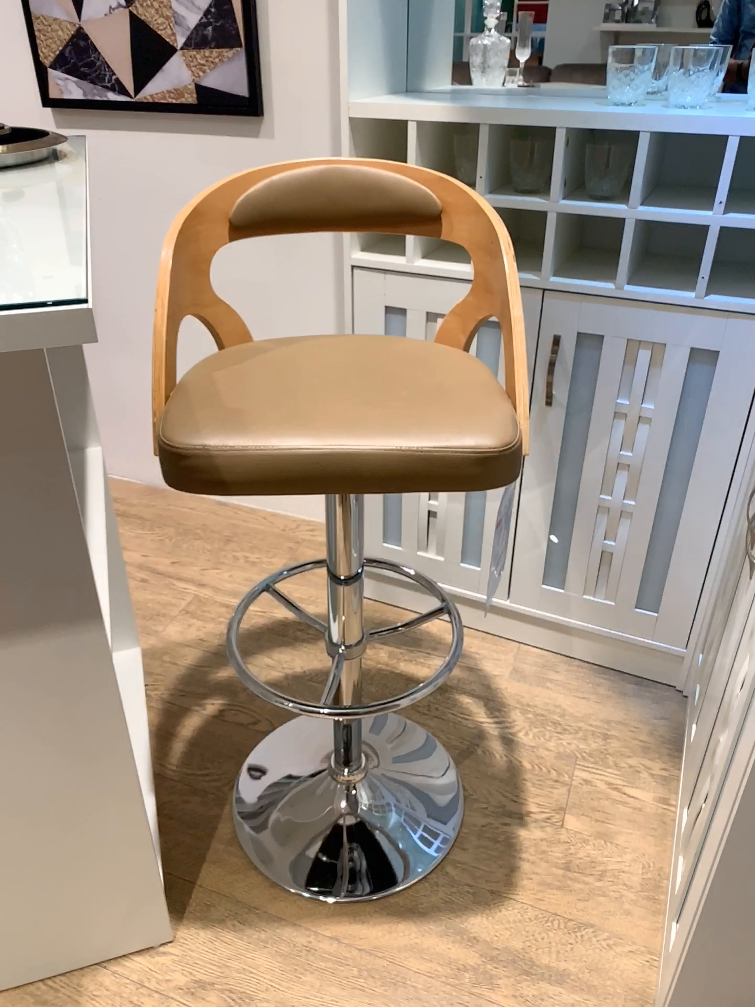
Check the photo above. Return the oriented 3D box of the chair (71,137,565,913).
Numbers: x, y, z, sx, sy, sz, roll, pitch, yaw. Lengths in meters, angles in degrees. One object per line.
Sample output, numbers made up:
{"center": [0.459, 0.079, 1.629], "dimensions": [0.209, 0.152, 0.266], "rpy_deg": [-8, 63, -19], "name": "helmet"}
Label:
{"center": [-0.056, 0.065, 1.133], "dimensions": [0.430, 1.046, 0.462], "rpy_deg": [1, 30, 0], "name": "chair"}
